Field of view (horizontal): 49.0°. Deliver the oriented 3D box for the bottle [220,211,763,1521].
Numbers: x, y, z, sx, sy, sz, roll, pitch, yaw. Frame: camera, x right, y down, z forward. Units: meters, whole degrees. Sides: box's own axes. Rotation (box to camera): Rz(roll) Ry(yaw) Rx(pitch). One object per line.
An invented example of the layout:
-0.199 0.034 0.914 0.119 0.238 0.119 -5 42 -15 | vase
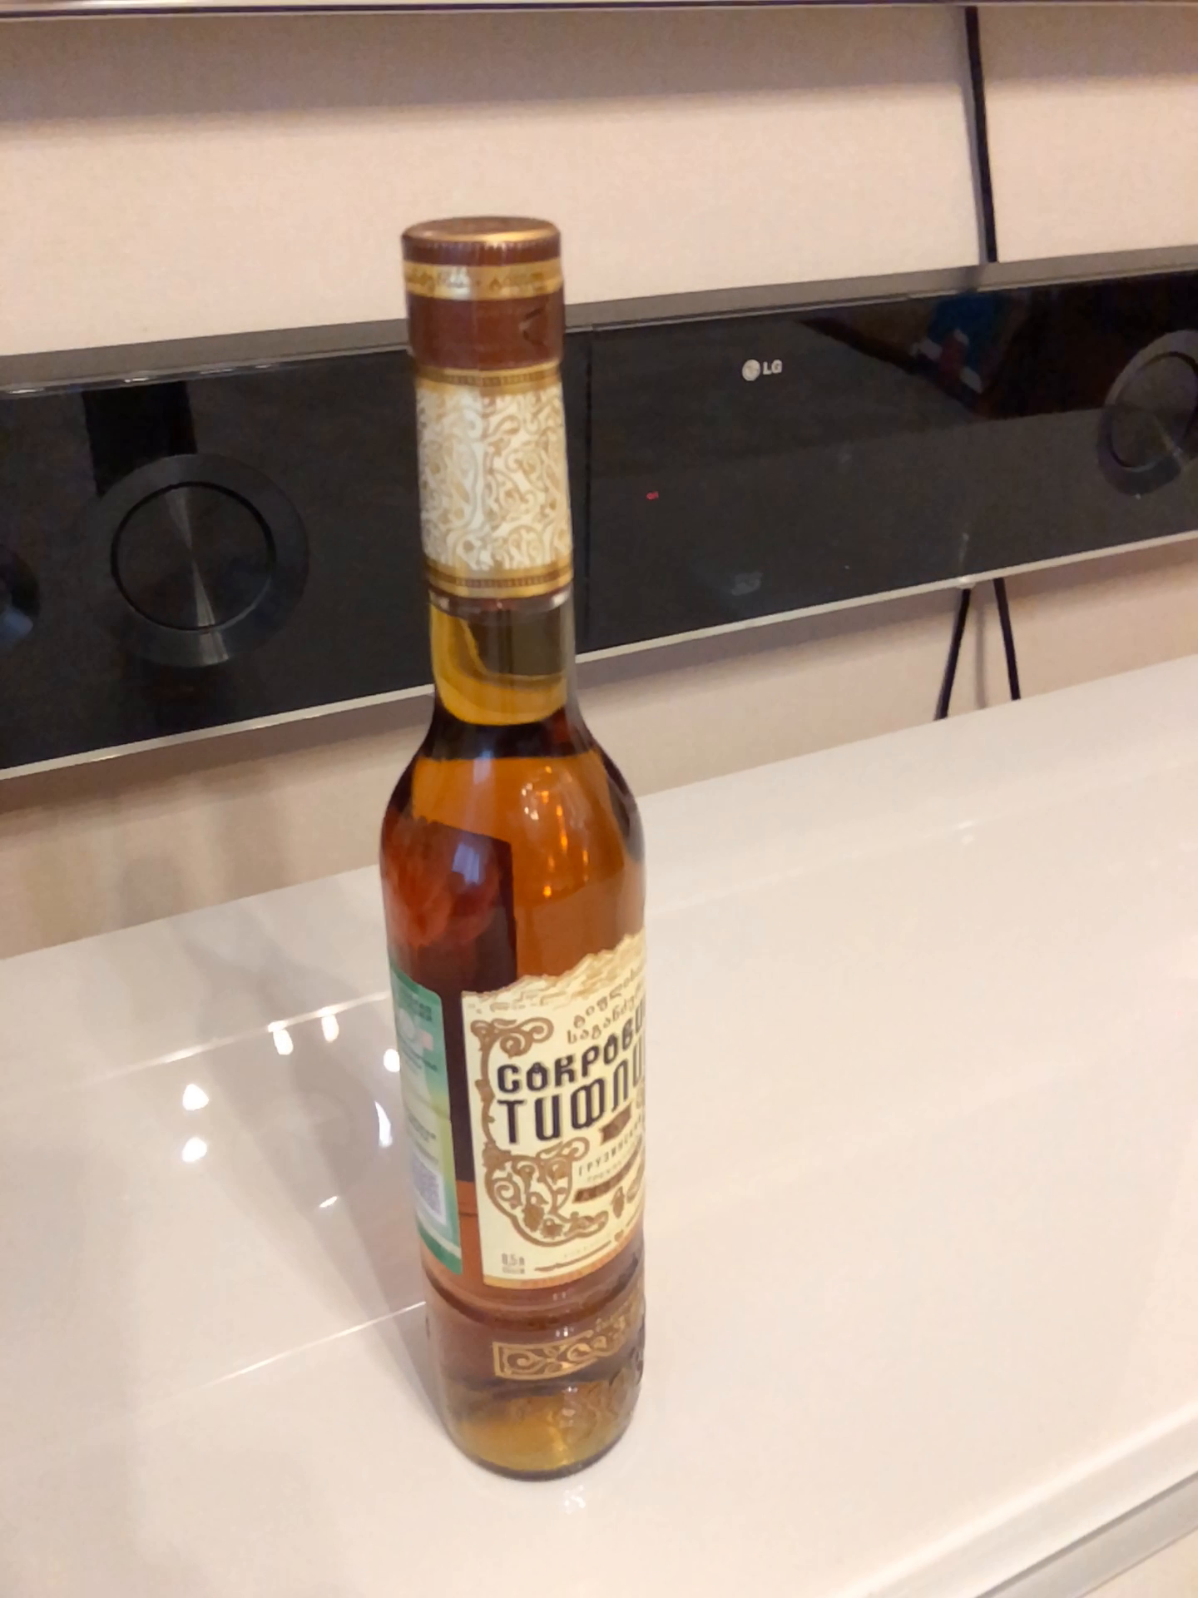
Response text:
-0.017 0.032 0.315 0.070 0.308 0.070 -1 29 0 | bottle
